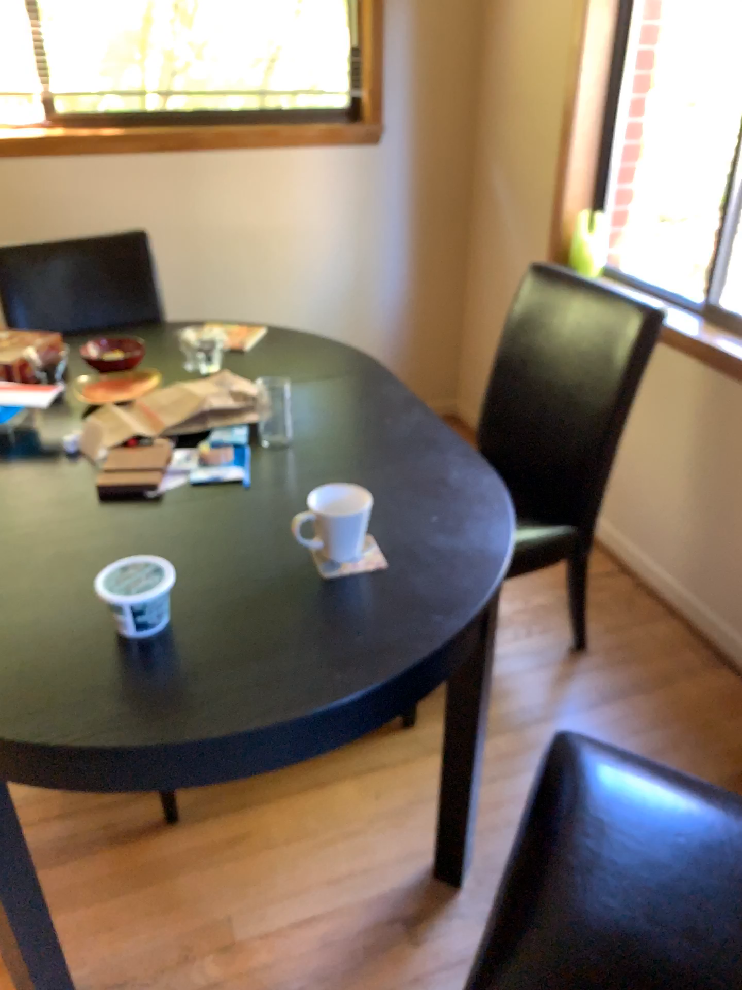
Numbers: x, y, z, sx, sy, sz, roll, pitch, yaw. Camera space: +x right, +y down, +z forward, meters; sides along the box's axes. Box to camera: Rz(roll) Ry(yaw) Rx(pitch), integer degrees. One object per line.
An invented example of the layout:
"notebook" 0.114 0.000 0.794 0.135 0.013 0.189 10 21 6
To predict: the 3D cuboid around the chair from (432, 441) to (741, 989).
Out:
"chair" 0.512 0.605 0.976 0.651 1.084 0.623 12 32 20
